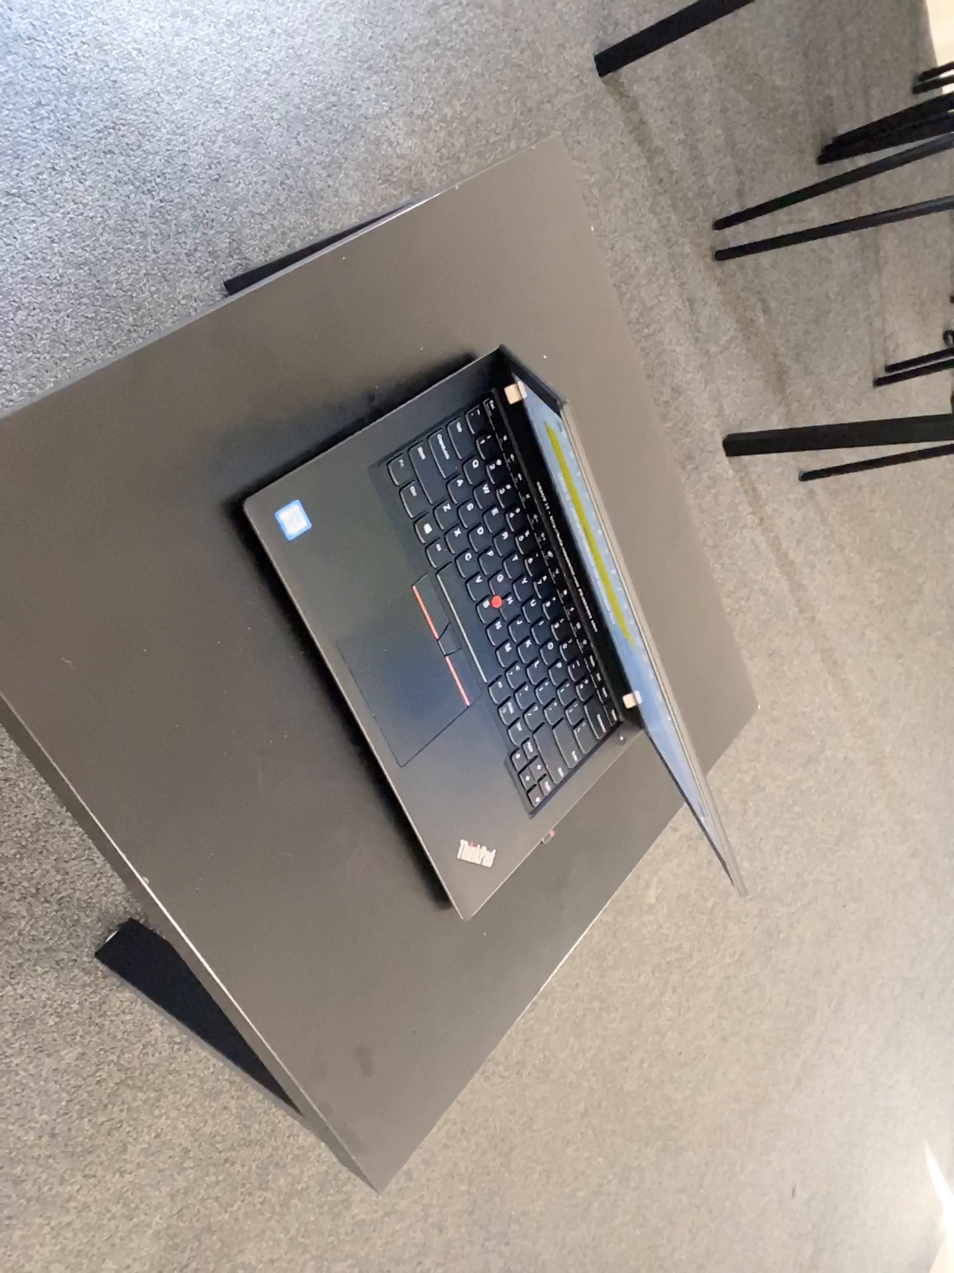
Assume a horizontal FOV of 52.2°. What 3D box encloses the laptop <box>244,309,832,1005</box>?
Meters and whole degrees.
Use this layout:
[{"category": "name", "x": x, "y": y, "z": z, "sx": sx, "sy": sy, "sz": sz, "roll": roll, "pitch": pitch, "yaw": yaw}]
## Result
[{"category": "laptop", "x": 0.059, "y": 0.011, "z": 0.619, "sx": 0.224, "sy": 0.165, "sz": 0.332, "roll": -40, "pitch": 119, "yaw": -31}]
